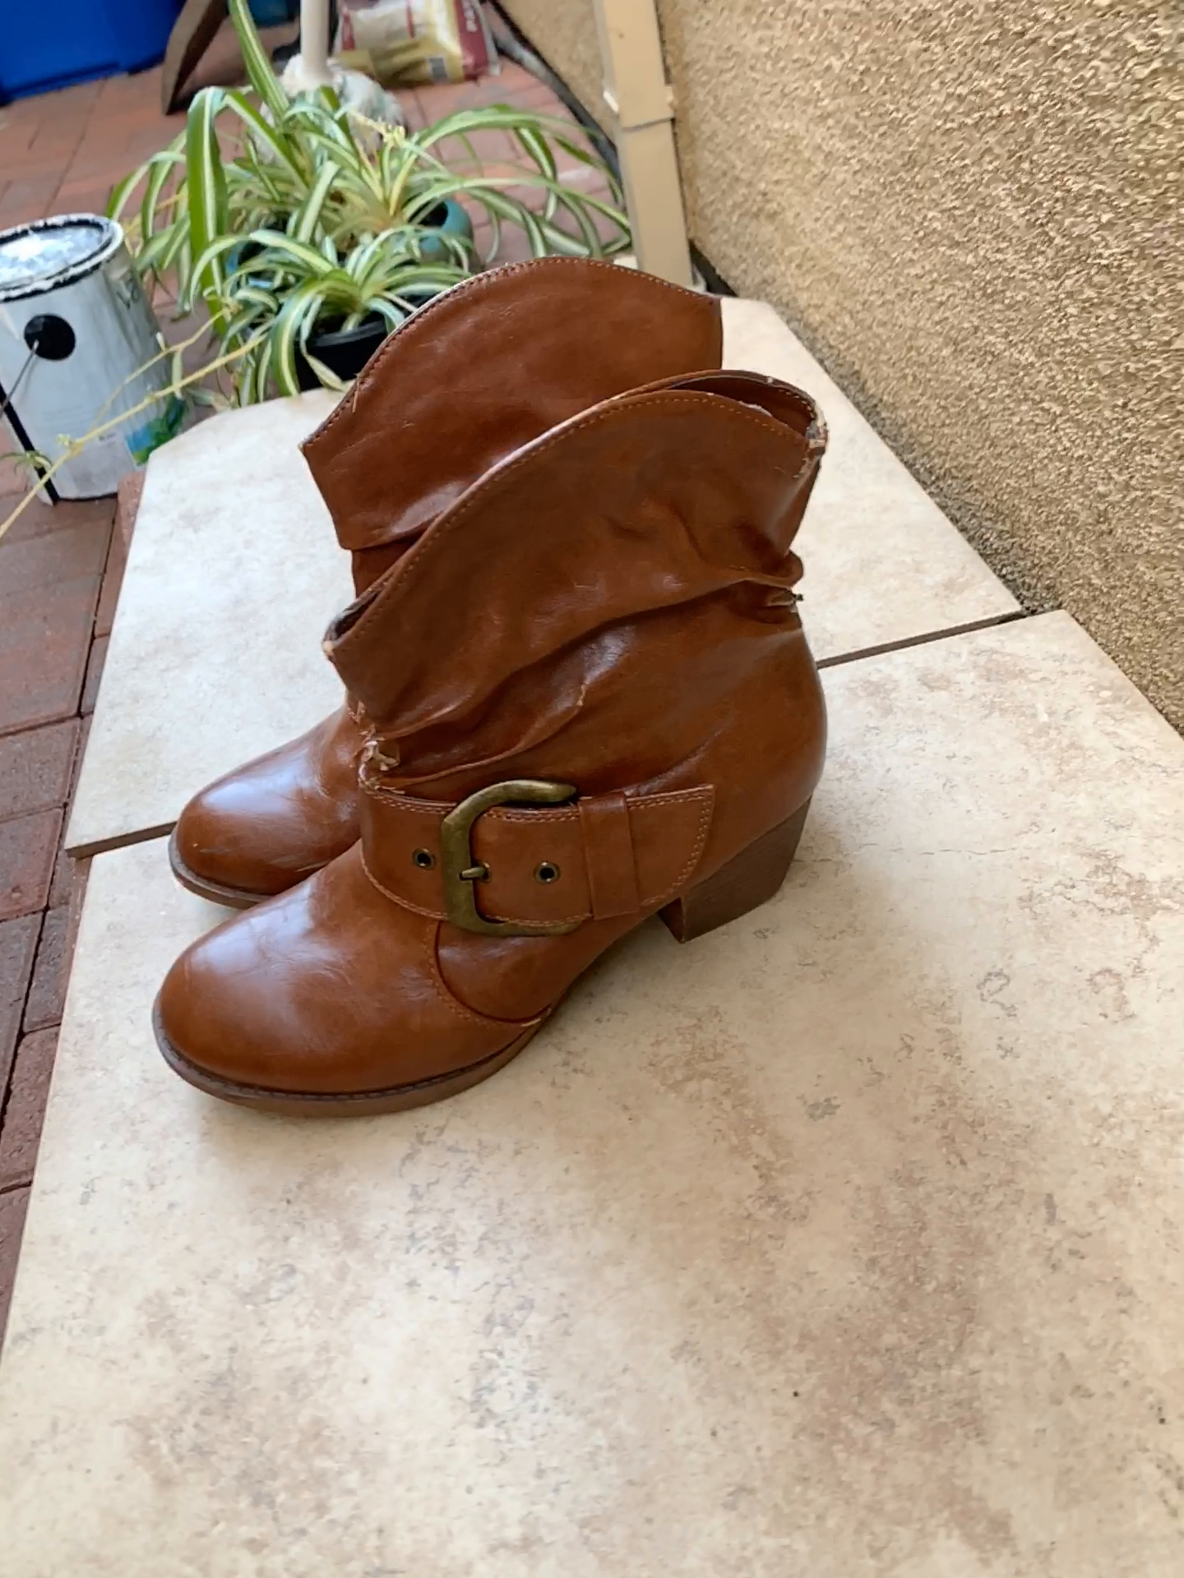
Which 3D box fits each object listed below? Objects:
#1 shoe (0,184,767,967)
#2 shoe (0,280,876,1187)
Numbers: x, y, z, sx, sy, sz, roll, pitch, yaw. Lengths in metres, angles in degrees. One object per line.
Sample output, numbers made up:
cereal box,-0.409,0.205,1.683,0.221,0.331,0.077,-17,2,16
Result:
shoe,-0.076,-0.073,0.448,0.244,0.198,0.096,-19,41,-6
shoe,-0.052,-0.009,0.372,0.244,0.198,0.101,-16,41,-2
